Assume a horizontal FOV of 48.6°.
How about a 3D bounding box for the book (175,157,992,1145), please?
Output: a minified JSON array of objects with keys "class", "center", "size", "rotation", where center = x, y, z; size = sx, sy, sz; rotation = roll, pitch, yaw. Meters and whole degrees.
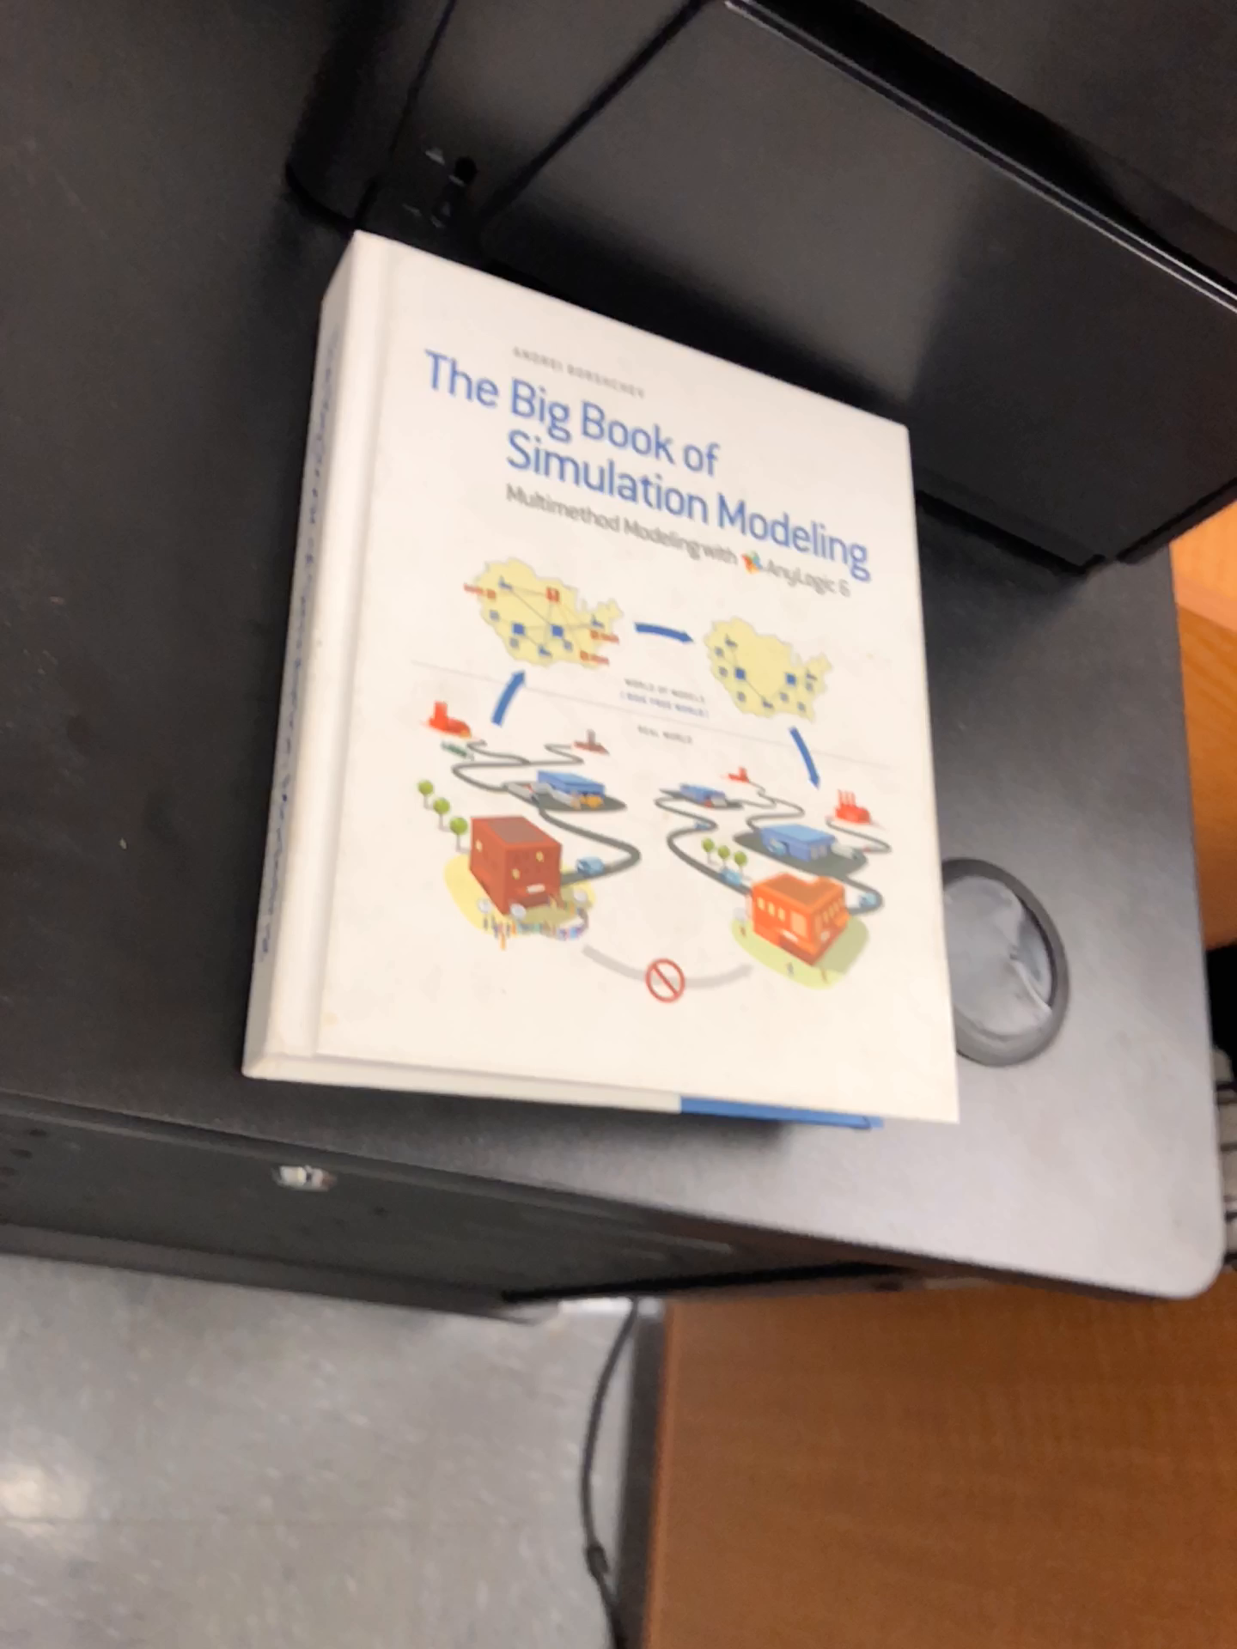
[{"class":"book","center":[-0.001,-0.044,0.401],"size":[0.210,0.050,0.251],"rotation":[11,66,-24]}]
